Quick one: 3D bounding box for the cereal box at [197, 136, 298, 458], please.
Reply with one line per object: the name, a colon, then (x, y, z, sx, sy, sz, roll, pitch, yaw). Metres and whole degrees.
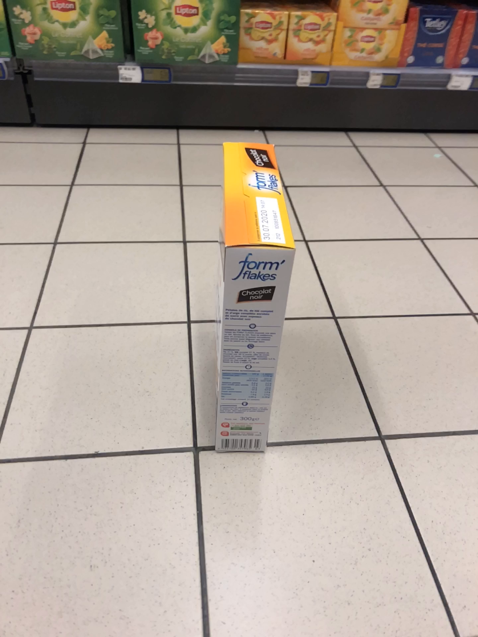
cereal box: (-0.003, -0.021, 0.526, 0.070, 0.248, 0.201, 1, 39, -3)
